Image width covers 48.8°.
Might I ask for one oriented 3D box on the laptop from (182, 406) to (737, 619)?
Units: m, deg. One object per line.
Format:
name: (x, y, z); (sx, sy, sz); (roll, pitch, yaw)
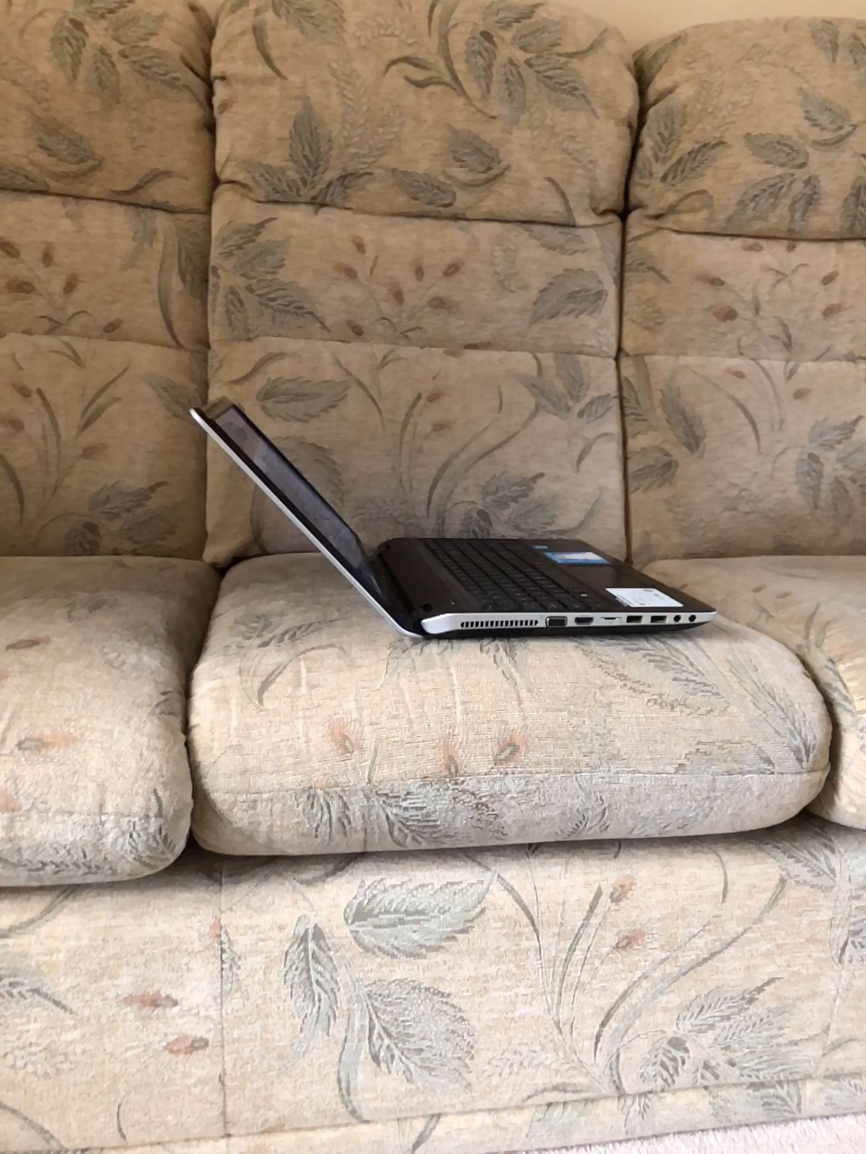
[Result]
laptop: (0.002, -0.079, 0.906); (0.410, 0.151, 0.397); (0, 12, -10)
